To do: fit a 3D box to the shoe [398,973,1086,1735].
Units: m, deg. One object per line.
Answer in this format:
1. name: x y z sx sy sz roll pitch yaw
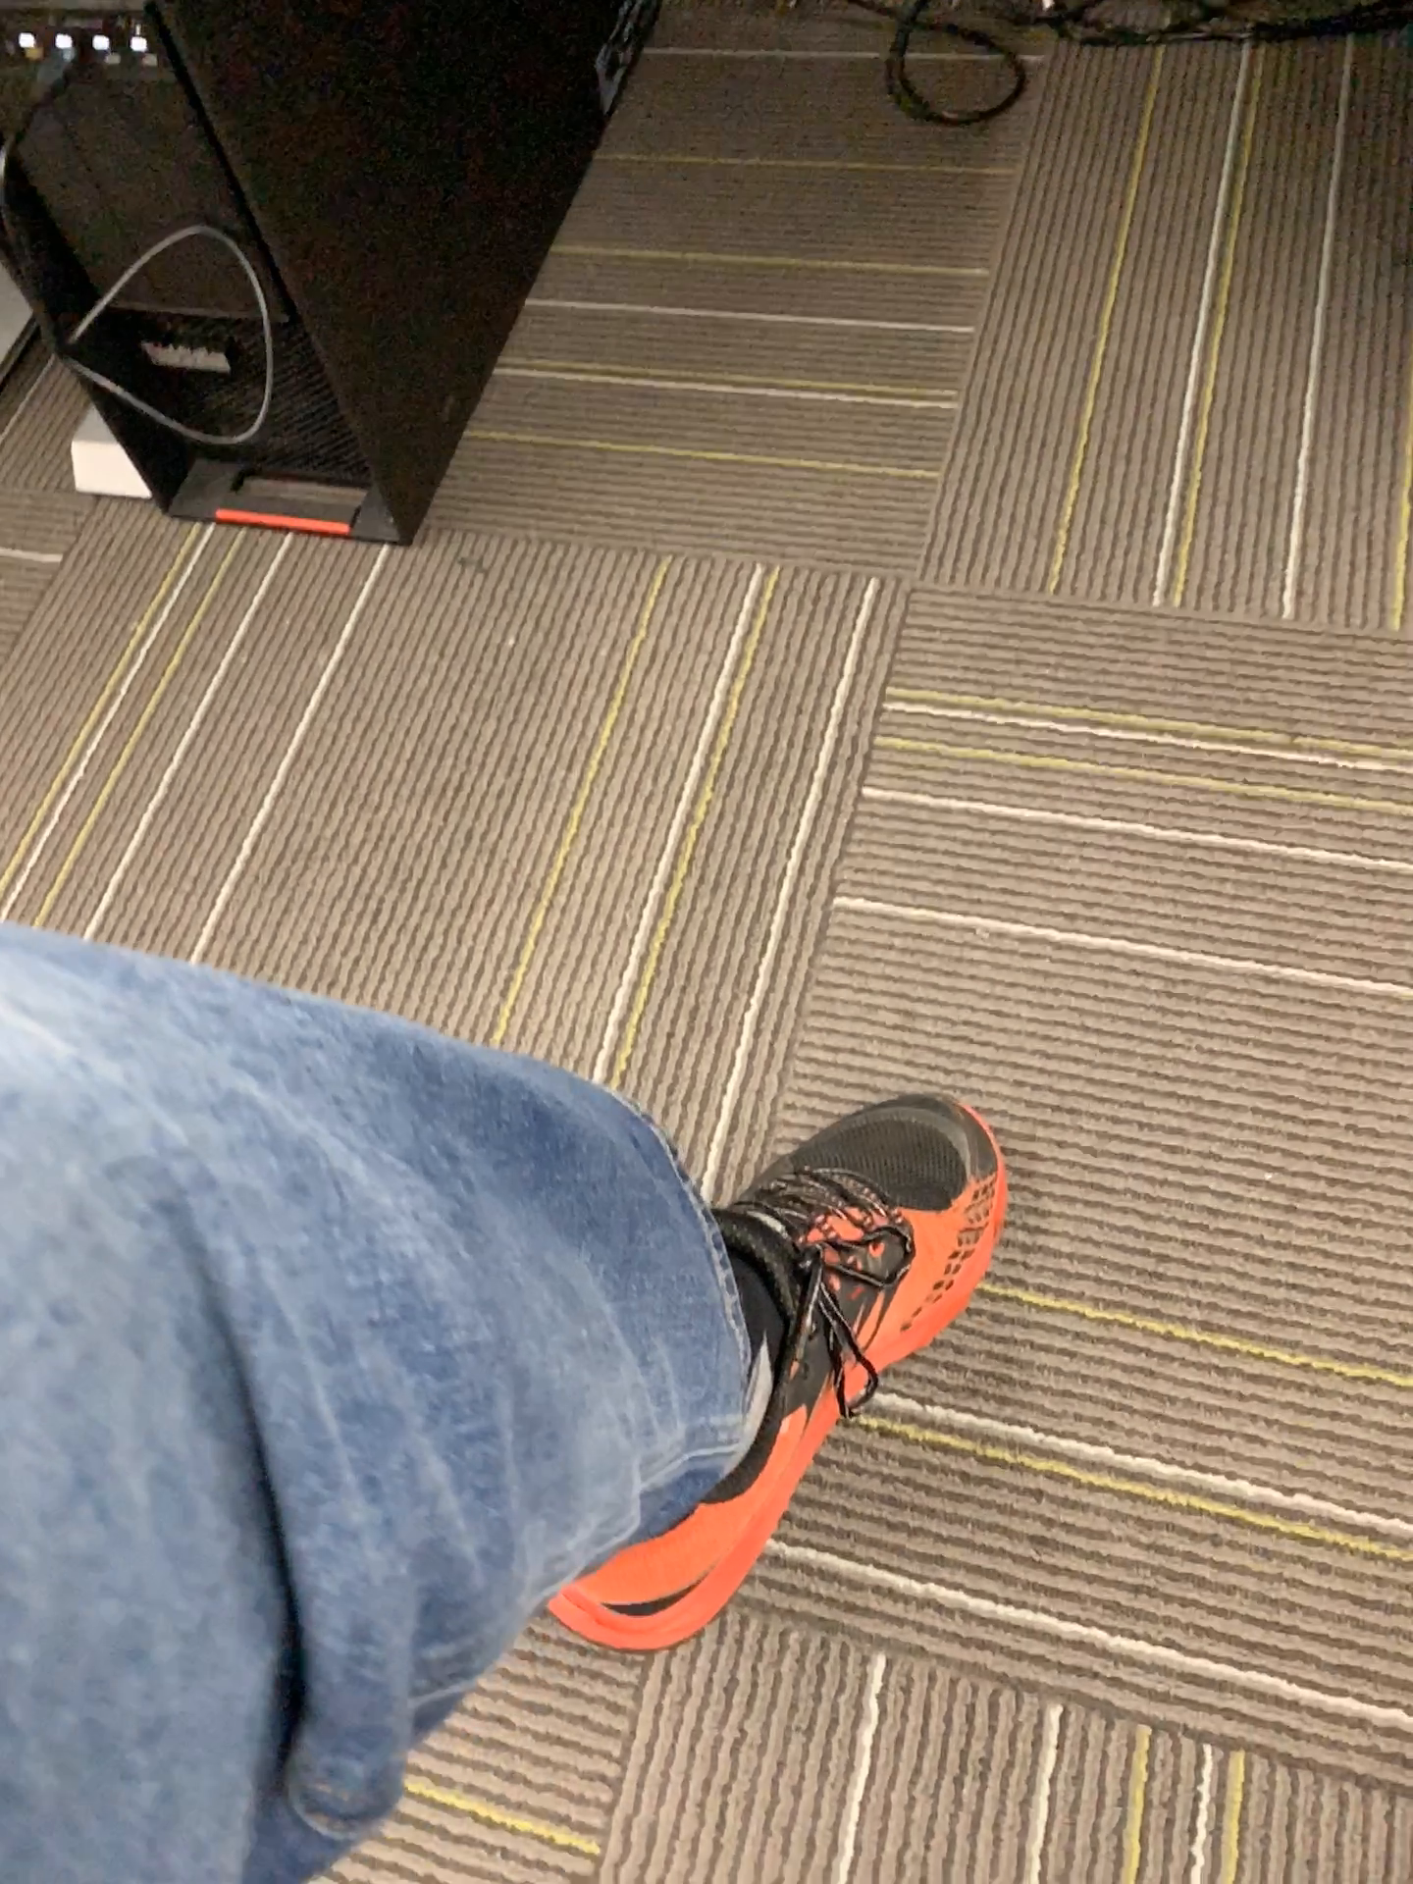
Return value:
1. shoe: 0.031 0.157 0.641 0.126 0.106 0.314 25 44 29
